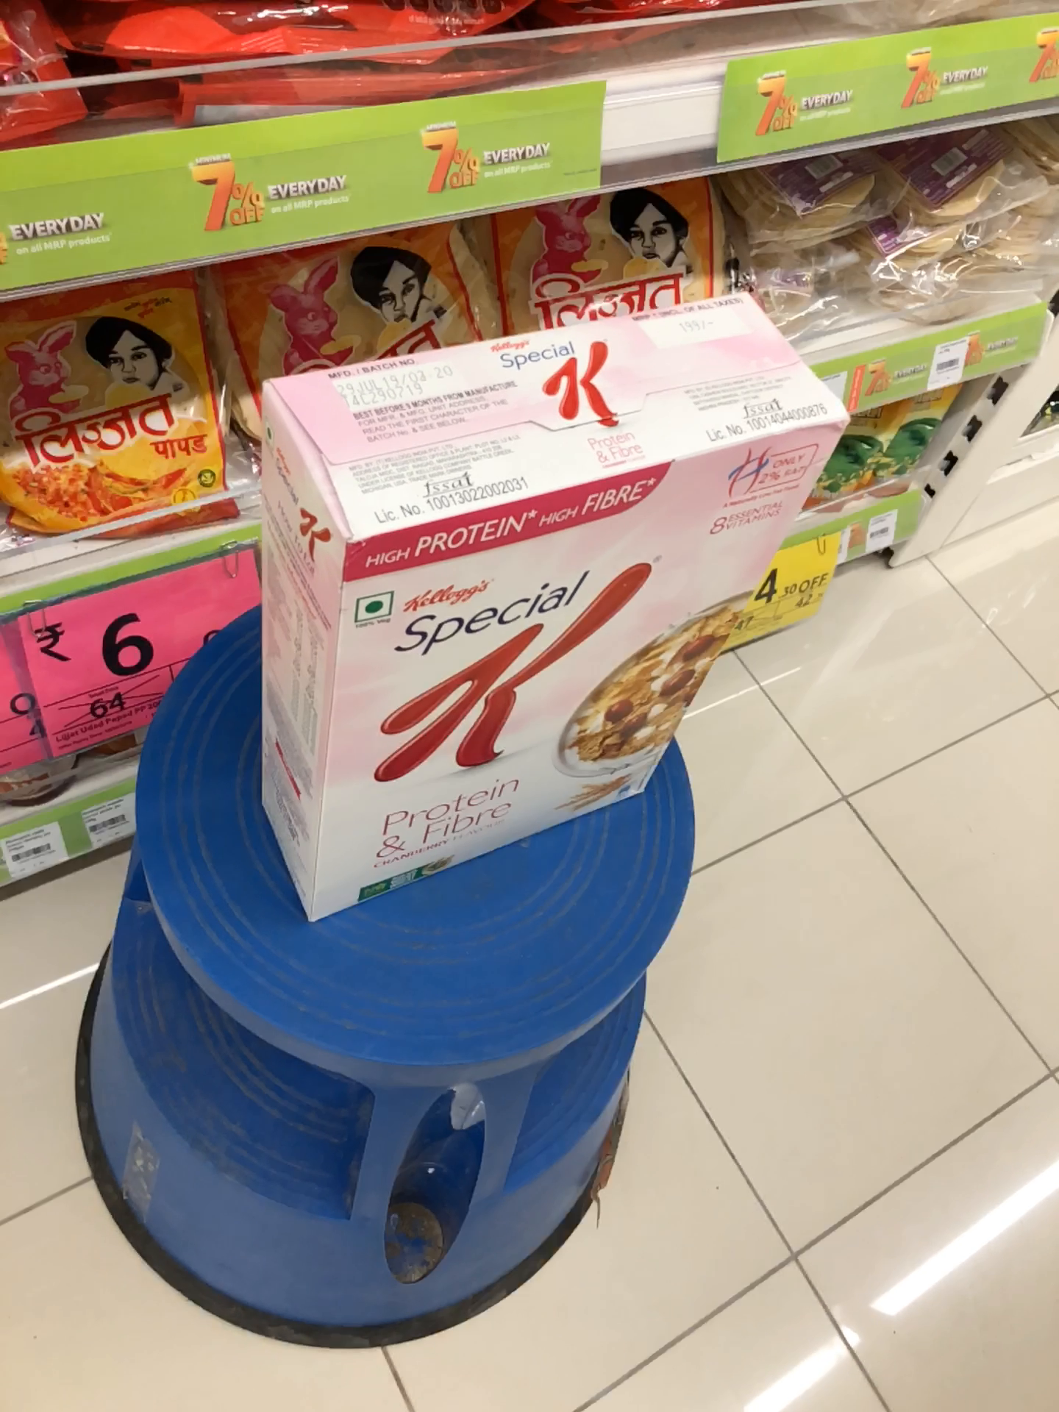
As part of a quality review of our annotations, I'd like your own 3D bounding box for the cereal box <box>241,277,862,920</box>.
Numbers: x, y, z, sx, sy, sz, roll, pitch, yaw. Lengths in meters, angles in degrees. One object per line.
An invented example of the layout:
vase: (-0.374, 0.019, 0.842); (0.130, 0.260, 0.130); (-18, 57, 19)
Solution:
cereal box: (-0.011, -0.028, 0.456); (0.181, 0.249, 0.070); (-18, 63, -23)
